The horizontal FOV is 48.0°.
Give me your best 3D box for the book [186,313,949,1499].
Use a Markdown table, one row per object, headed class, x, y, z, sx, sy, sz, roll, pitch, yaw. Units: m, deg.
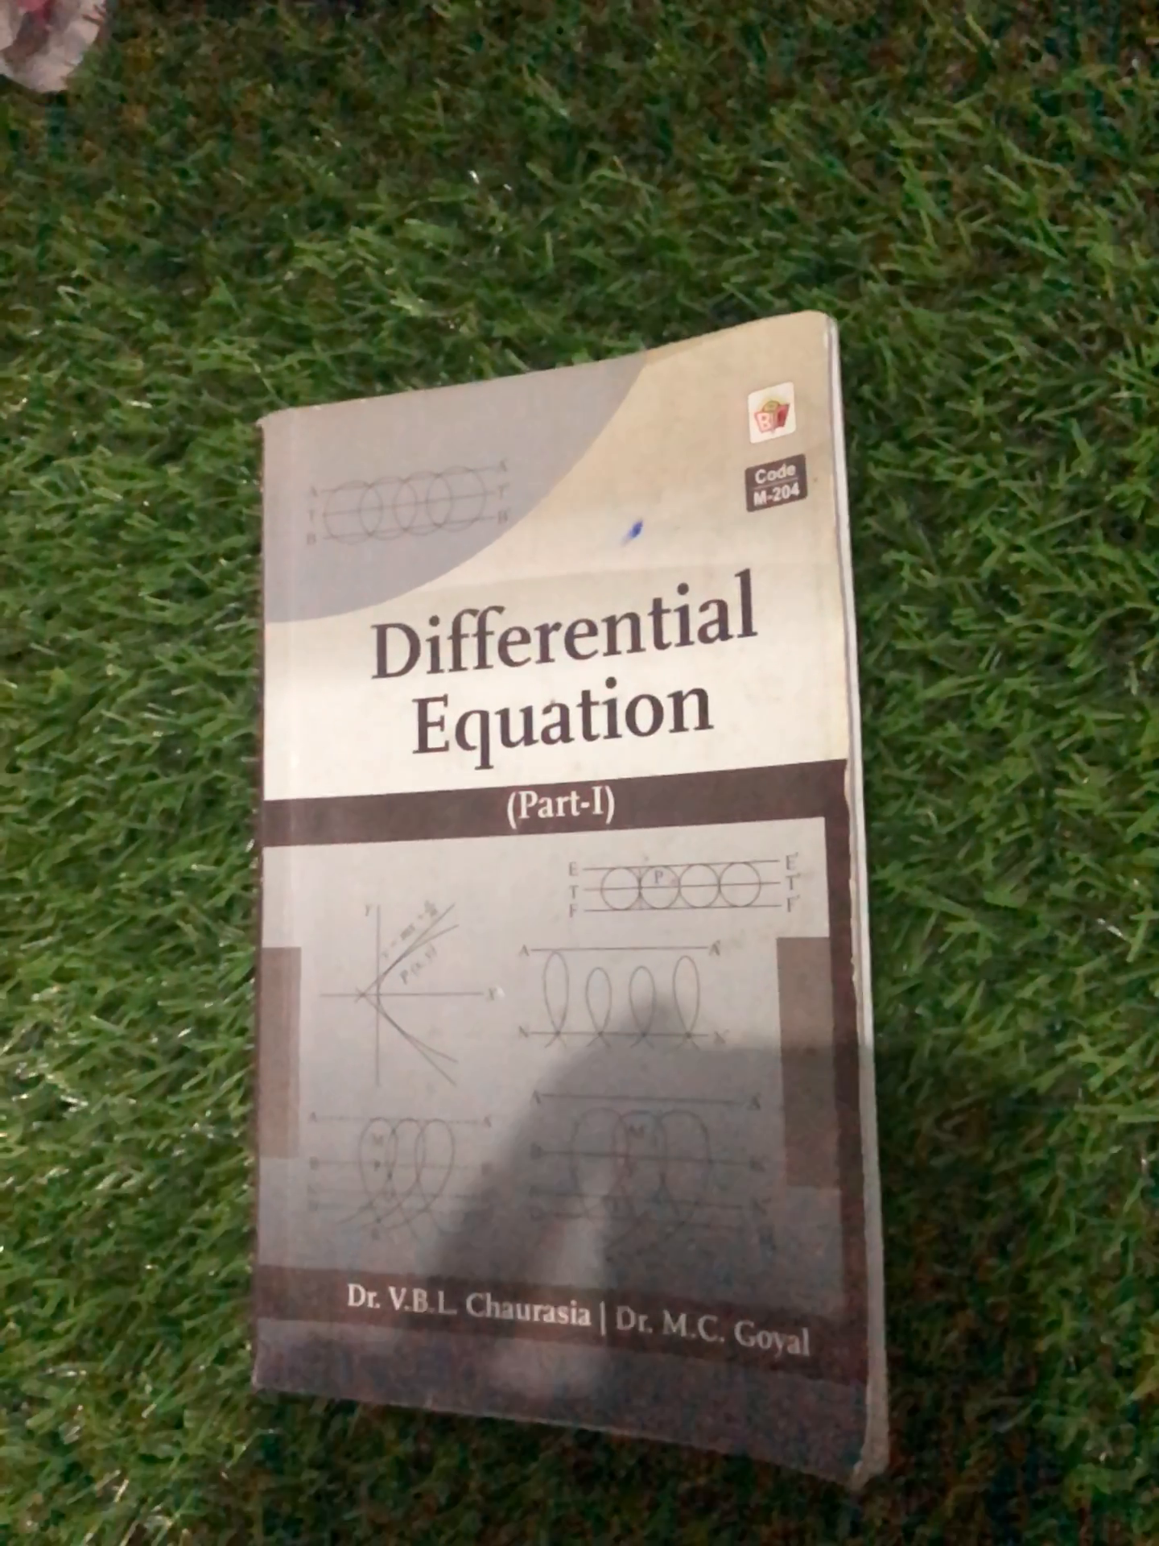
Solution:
| class | x | y | z | sx | sy | sz | roll | pitch | yaw |
| --- | --- | --- | --- | --- | --- | --- | --- | --- | --- |
| book | -0.006 | 0.022 | 0.256 | 0.140 | 0.030 | 0.200 | -3 | 82 | 18 |
